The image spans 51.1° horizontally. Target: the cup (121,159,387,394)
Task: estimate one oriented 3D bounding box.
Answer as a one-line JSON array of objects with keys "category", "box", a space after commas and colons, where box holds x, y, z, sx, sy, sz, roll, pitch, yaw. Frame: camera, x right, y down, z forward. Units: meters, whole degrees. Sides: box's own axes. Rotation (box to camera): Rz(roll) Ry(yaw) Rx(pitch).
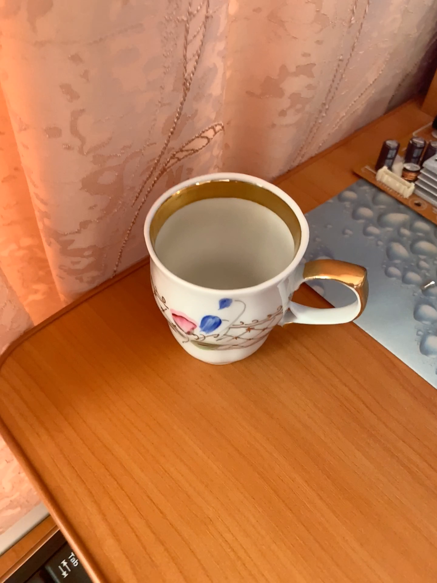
[{"category": "cup", "box": [0.015, -0.006, 0.180, 0.082, 0.055, 0.059, 9, 52, 6]}]
